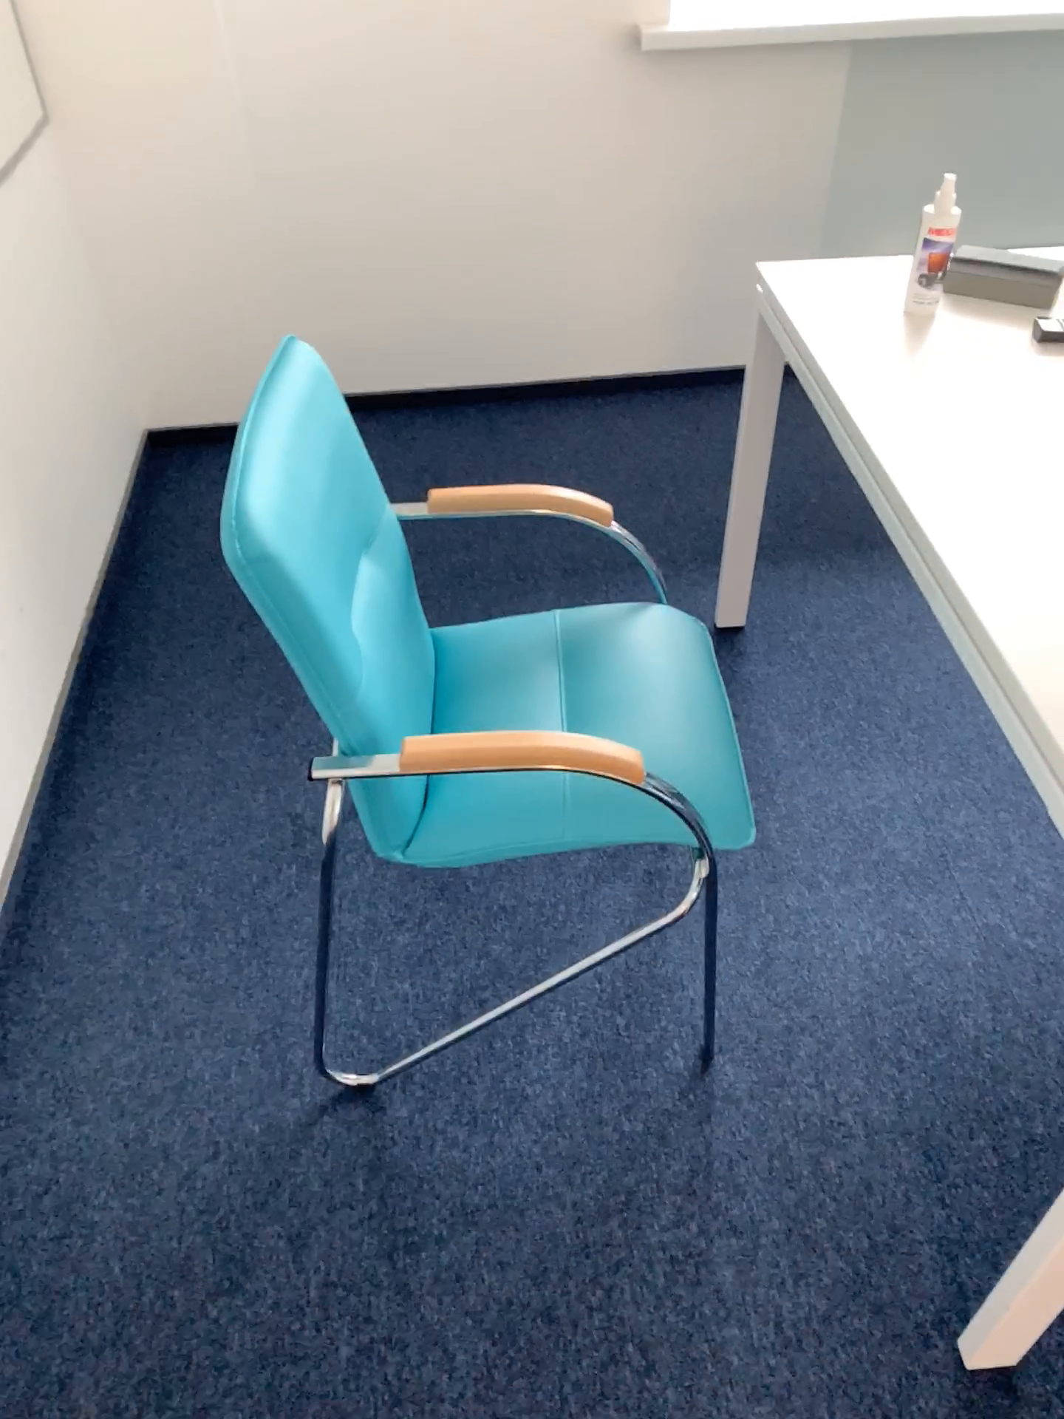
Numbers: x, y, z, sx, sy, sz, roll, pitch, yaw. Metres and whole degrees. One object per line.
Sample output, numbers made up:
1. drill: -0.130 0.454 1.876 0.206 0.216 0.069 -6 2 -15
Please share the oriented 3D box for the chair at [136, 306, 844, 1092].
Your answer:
1. chair: -0.036 0.021 1.519 0.650 0.925 0.583 -2 43 -1
